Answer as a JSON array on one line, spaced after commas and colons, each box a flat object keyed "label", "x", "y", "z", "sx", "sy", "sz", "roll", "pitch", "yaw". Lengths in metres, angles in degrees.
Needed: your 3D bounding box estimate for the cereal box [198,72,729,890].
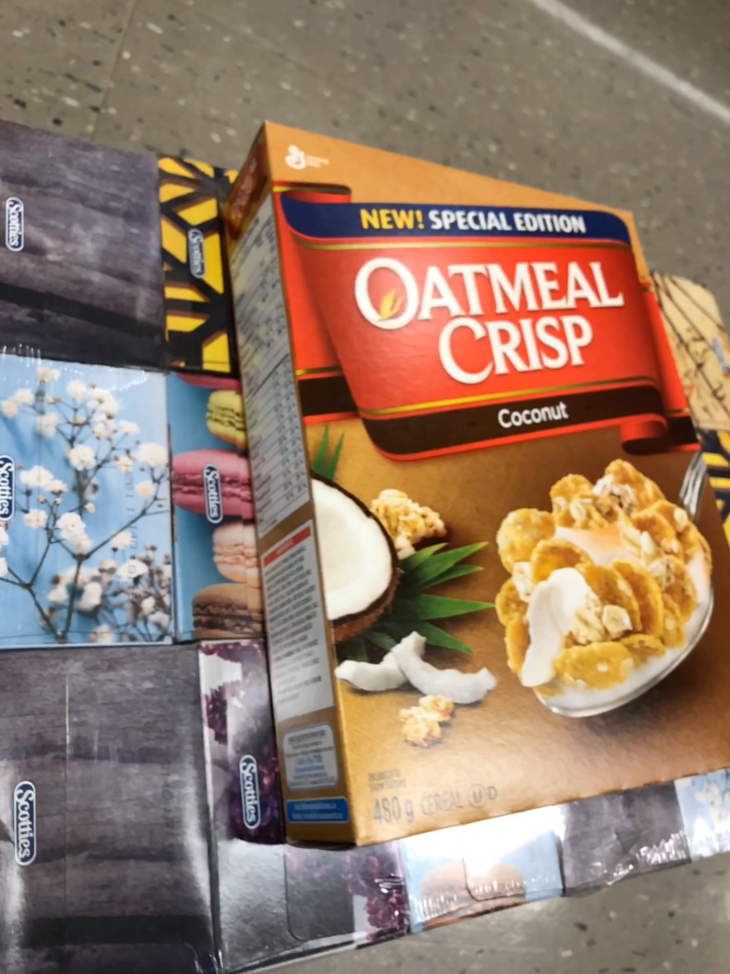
[{"label": "cereal box", "x": 0.053, "y": -0.015, "z": 0.334, "sx": 0.211, "sy": 0.060, "sz": 0.290, "roll": 2, "pitch": 65, "yaw": -25}]
